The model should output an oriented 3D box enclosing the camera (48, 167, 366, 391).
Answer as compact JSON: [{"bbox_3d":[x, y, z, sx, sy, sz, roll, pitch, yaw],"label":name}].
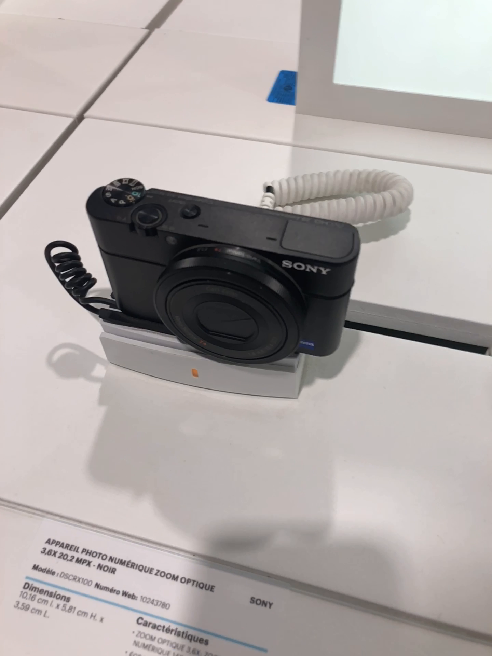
[{"bbox_3d":[-0.012,-0.018,0.204,0.100,0.056,0.036,13,51,11],"label":"camera"}]
